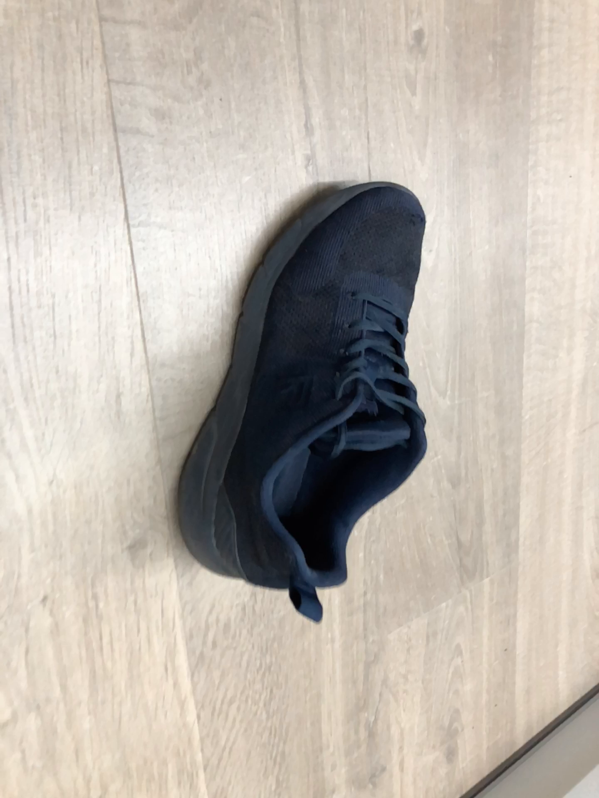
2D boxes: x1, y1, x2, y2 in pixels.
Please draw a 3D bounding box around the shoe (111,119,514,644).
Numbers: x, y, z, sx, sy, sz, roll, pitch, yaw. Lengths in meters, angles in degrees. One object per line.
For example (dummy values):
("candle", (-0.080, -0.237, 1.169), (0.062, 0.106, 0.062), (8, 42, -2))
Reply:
("shoe", (0.009, -0.014, 0.420), (0.100, 0.110, 0.290), (30, 82, -38))
